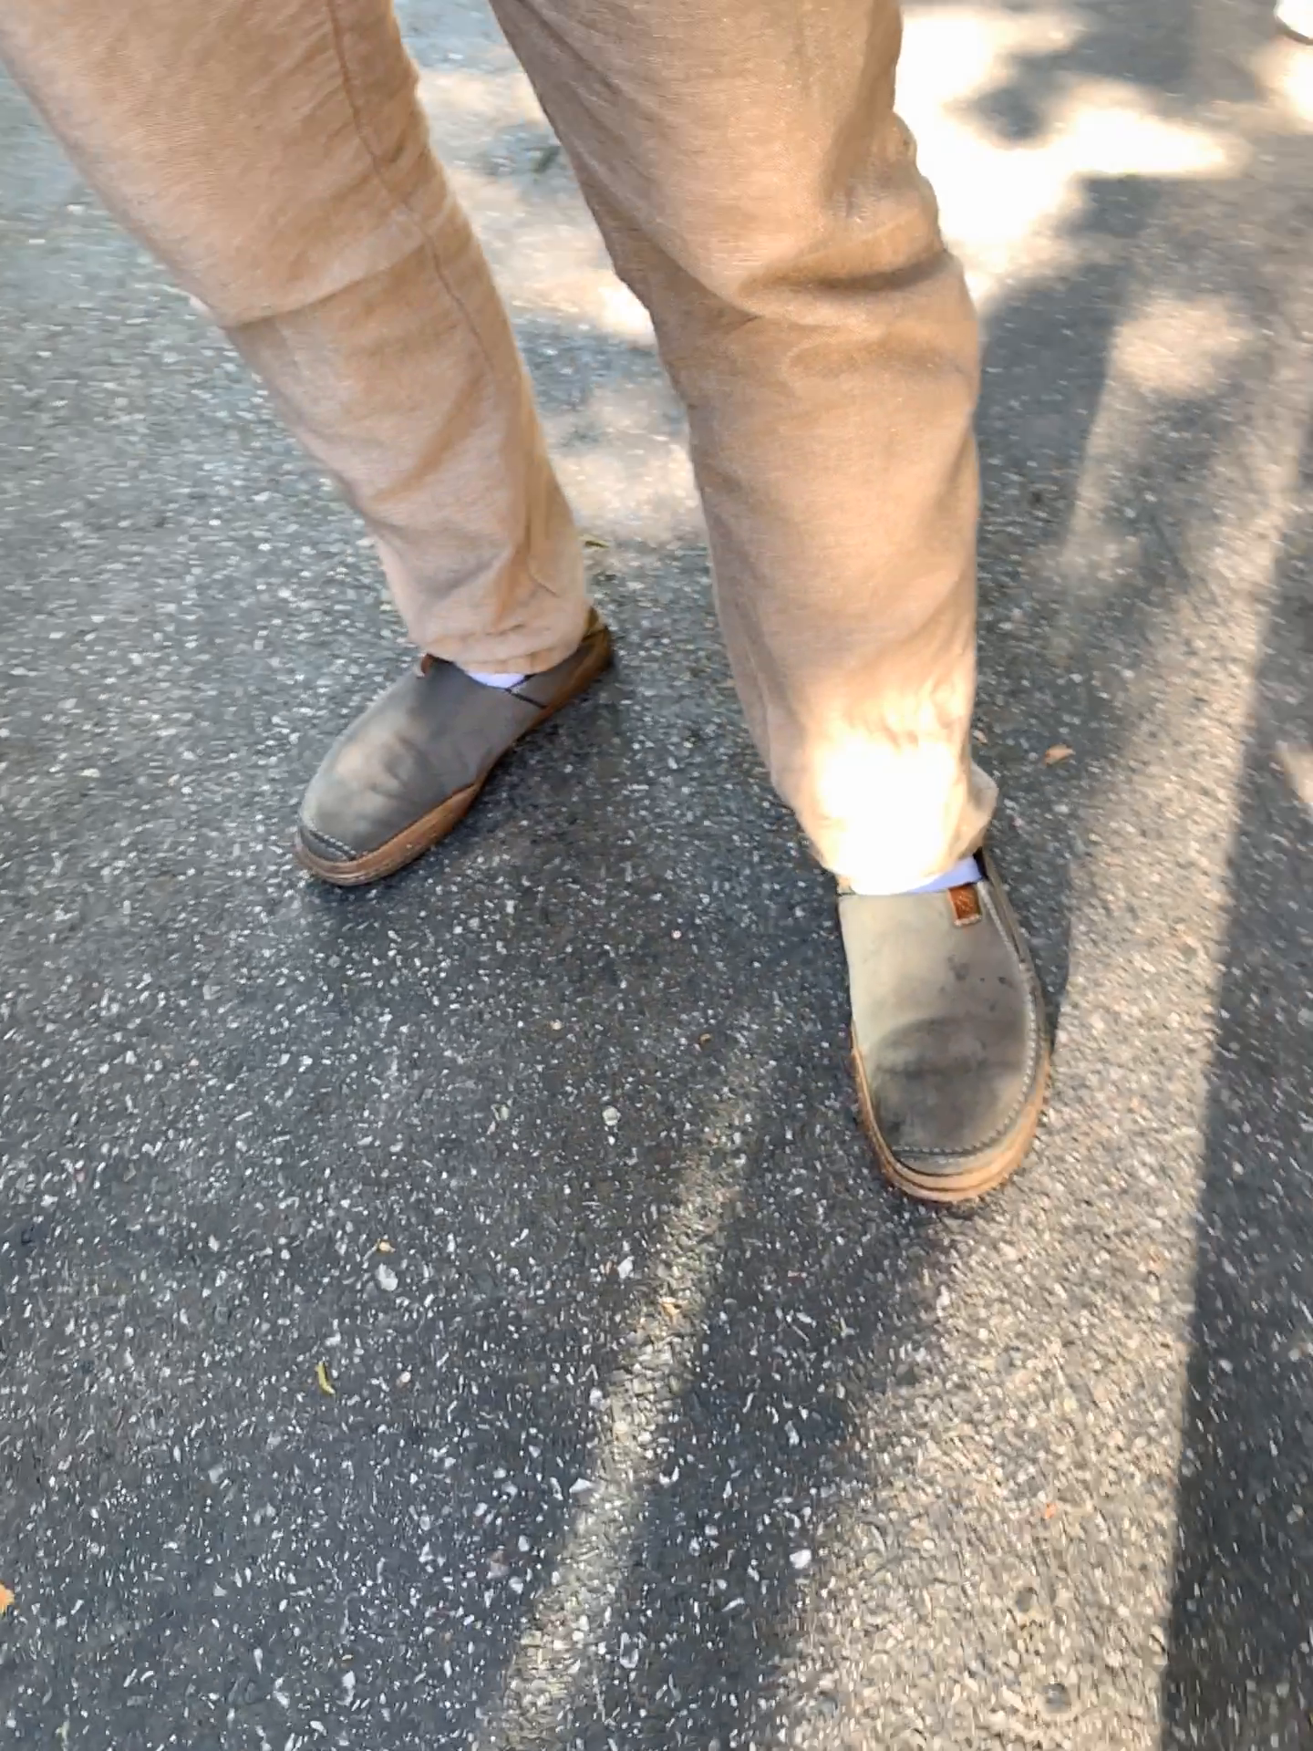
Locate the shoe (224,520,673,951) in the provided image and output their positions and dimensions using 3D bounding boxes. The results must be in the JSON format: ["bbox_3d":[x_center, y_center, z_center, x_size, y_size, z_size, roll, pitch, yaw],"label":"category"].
[{"bbox_3d":[-0.133,-0.107,0.930,0.120,0.060,0.320,27,63,26],"label":"shoe"}]

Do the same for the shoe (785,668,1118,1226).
[{"bbox_3d":[0.160,0.030,0.794,0.120,0.080,0.322,-8,54,4],"label":"shoe"}]
